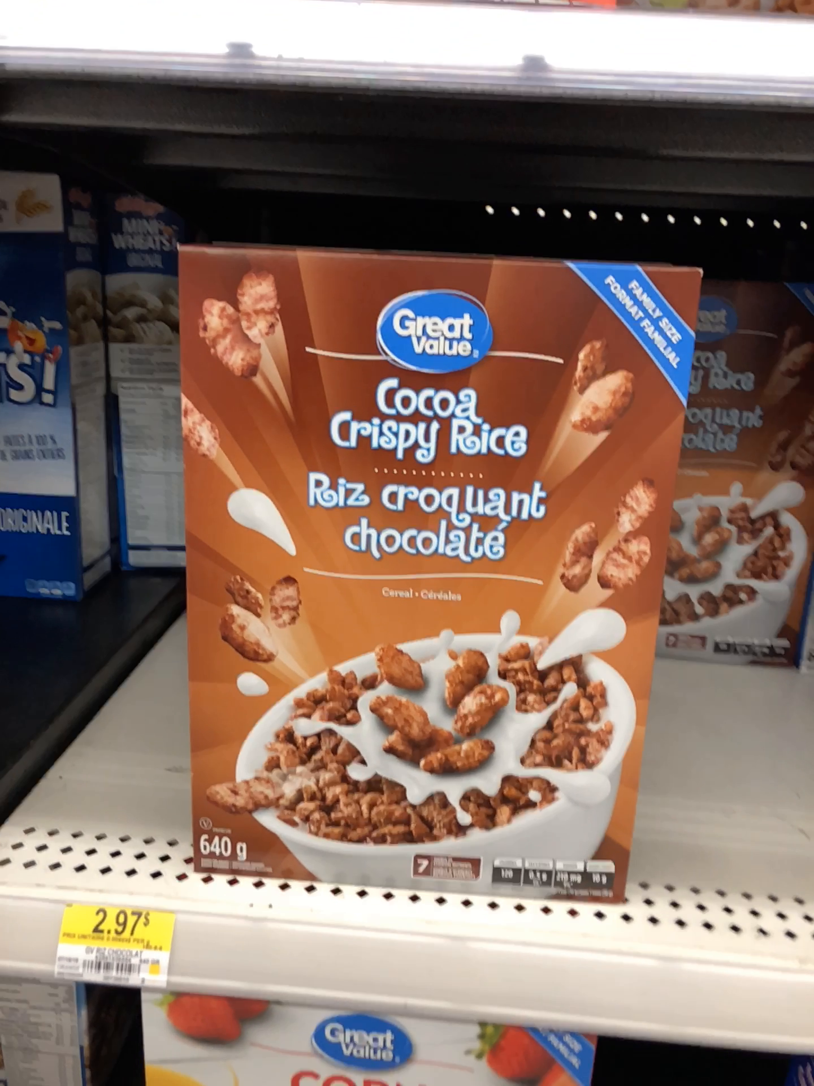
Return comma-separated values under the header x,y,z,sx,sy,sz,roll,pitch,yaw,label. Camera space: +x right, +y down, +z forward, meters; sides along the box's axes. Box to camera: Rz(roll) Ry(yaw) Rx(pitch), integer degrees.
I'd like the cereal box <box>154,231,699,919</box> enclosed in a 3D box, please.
x,y,z,sx,sy,sz,roll,pitch,yaw,label
0.003,0.016,0.424,0.210,0.298,0.080,3,16,2,cereal box
